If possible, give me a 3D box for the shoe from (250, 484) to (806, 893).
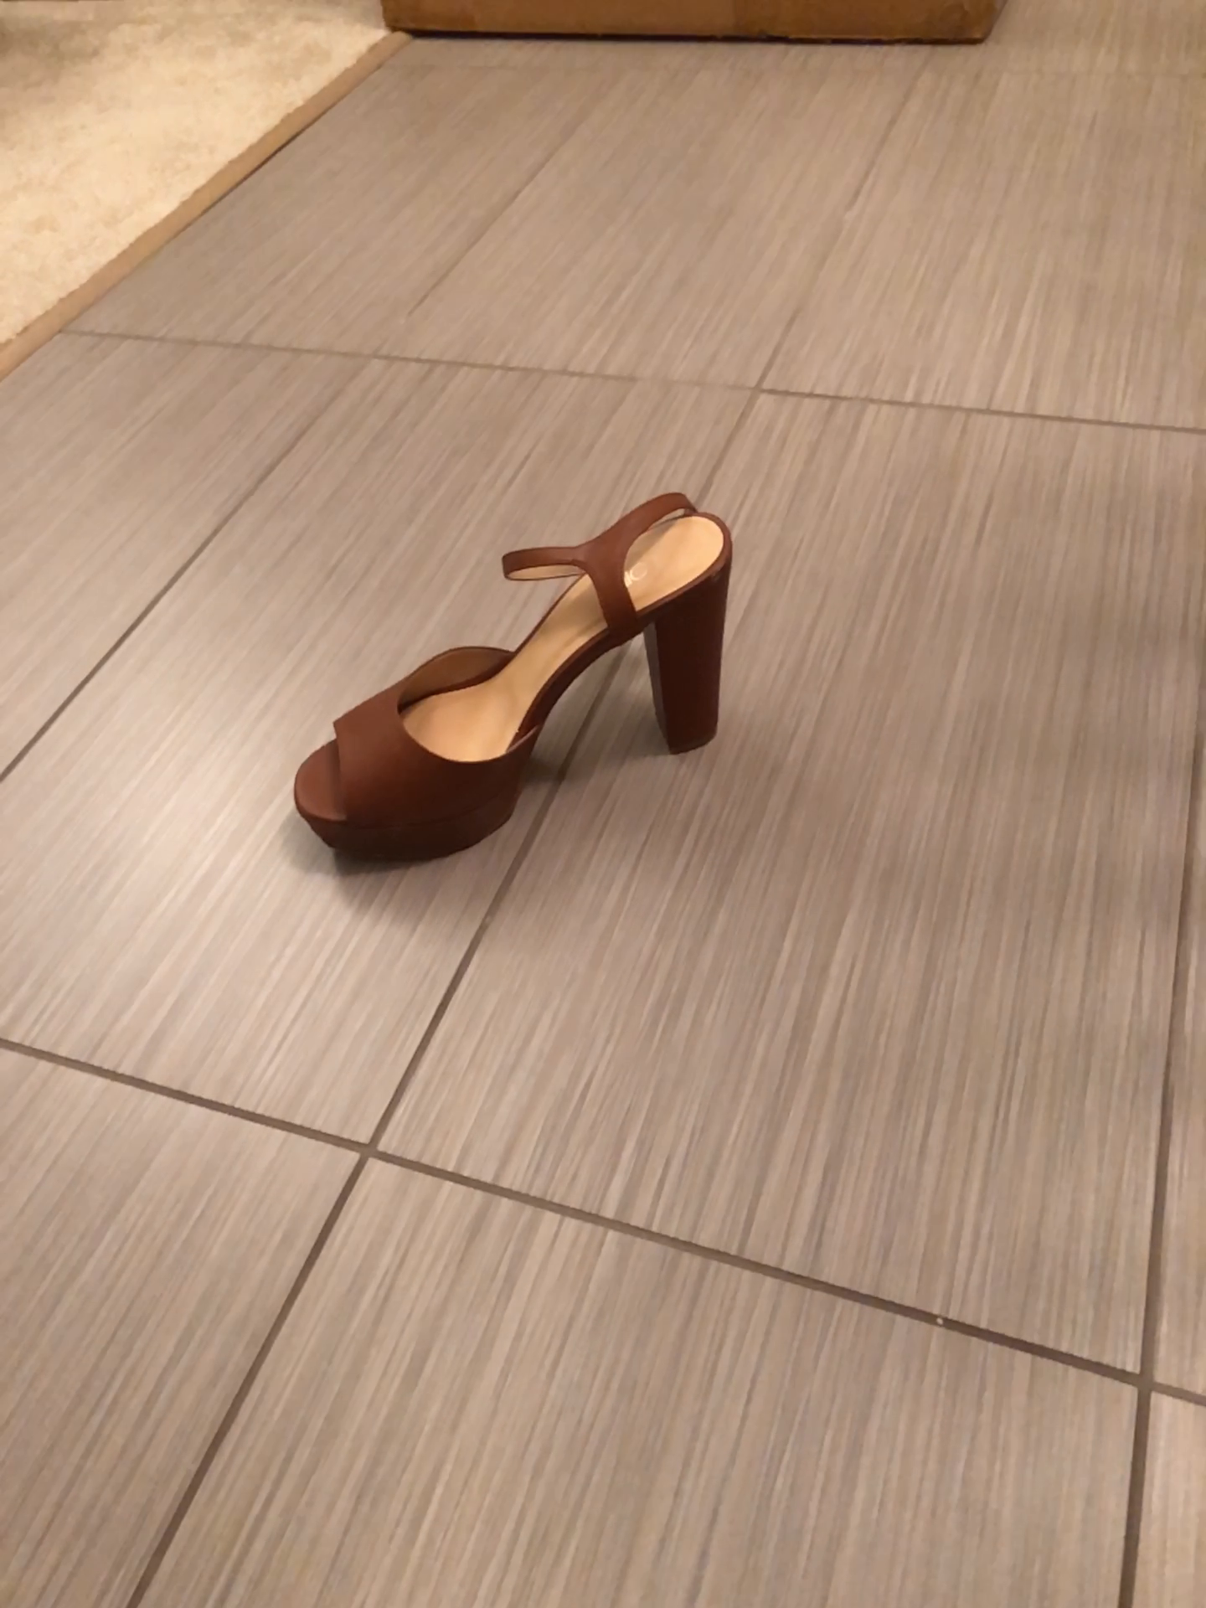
[{"bbox_3d":[-0.037,-0.057,0.641,0.240,0.090,0.111,-15,46,1],"label":"shoe"}]
